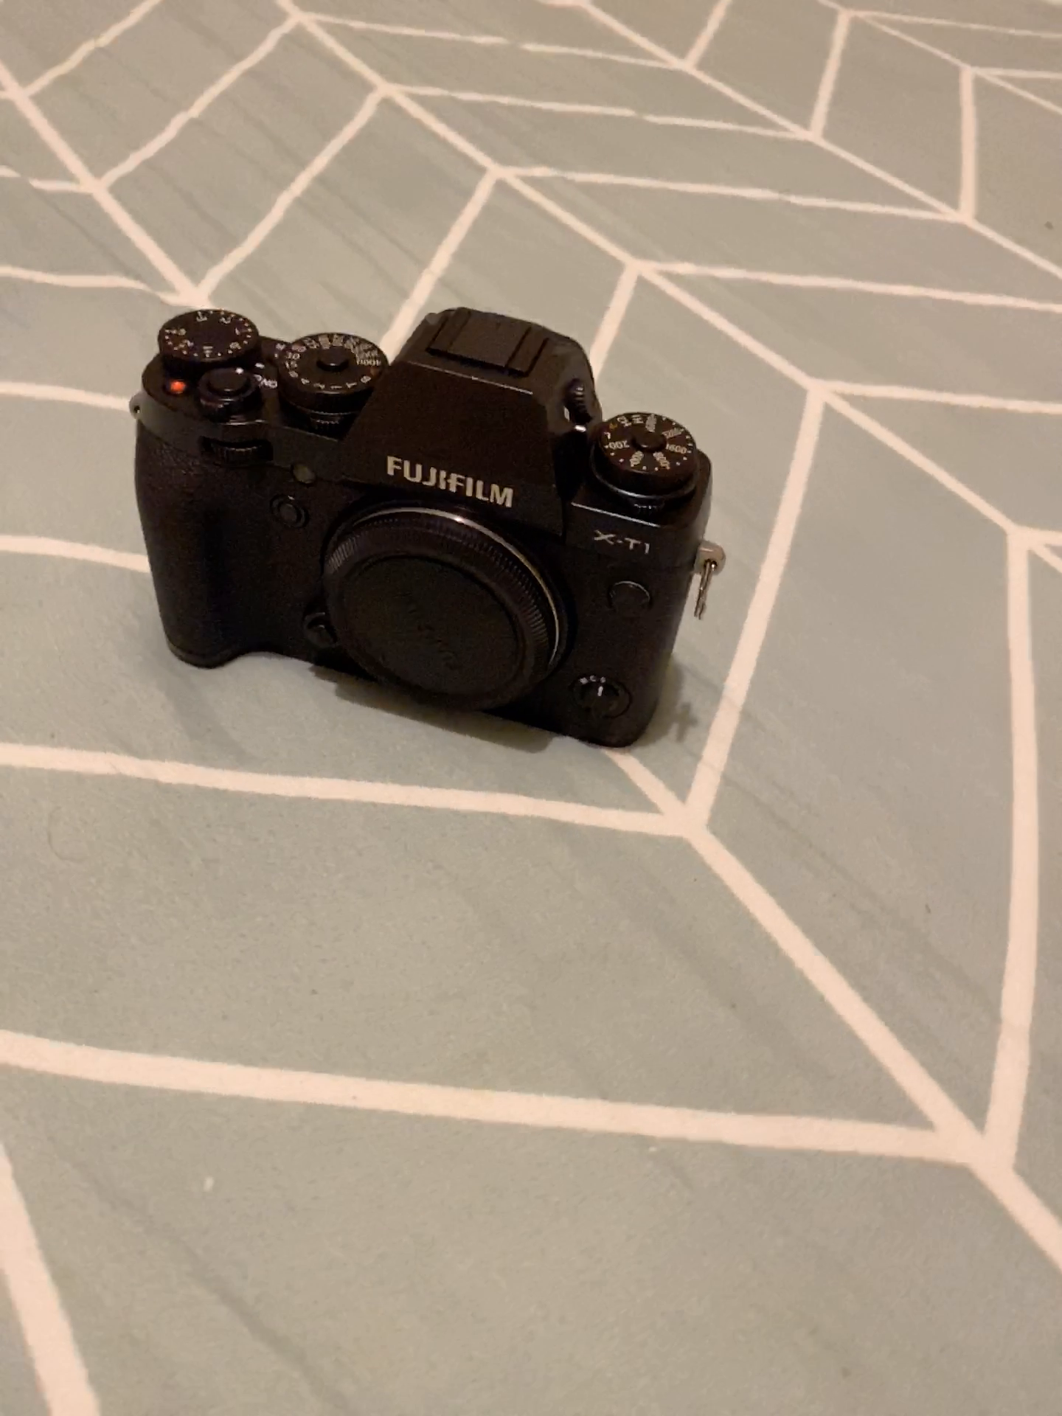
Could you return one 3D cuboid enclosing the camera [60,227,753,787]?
[{"bbox_3d":[-0.026,-0.045,0.256,0.130,0.087,0.052,15,50,7],"label":"camera"}]
